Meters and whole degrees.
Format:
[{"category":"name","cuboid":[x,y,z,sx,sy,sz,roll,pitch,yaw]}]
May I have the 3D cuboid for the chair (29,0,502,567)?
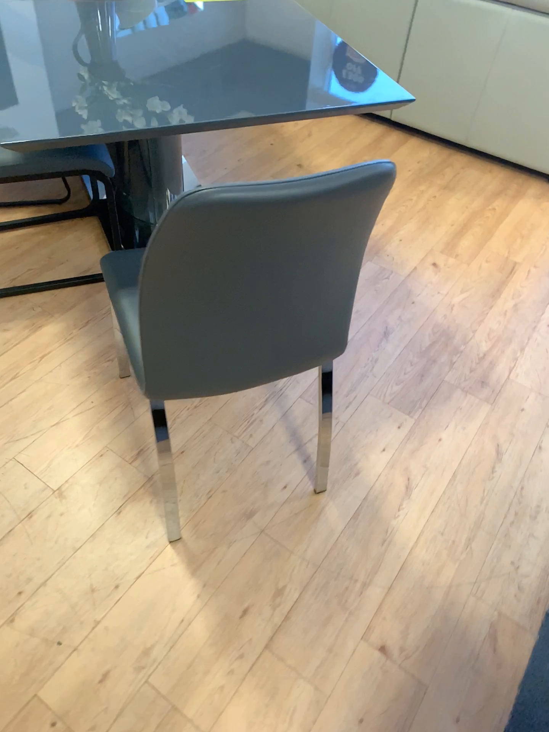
[{"category":"chair","cuboid":[-0.096,-0.145,1.159,0.511,0.912,0.635,-13,51,-17]}]
